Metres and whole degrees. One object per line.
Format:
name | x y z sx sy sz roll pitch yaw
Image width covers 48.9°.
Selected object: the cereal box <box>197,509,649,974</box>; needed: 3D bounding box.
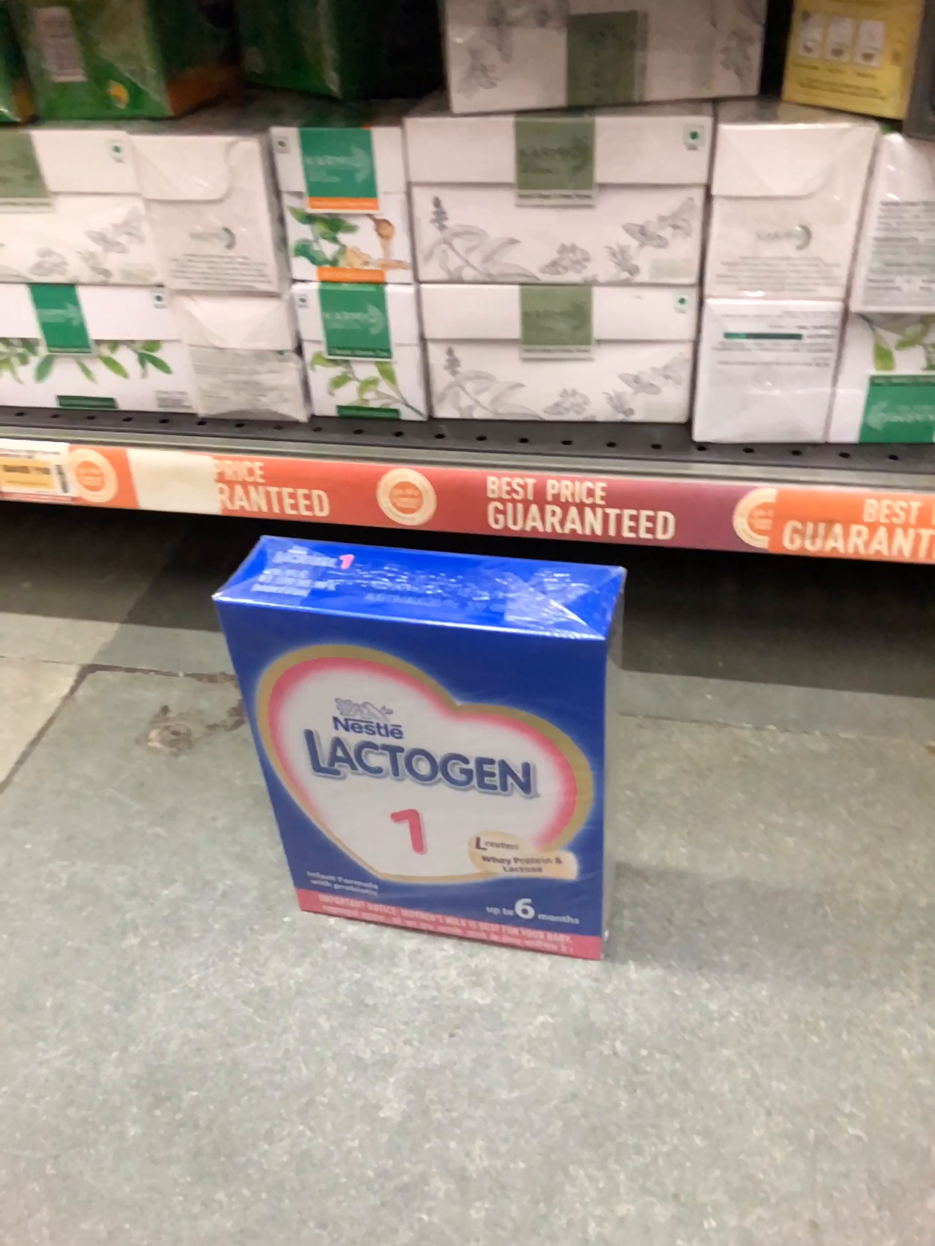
cereal box | -0.010 0.056 0.440 0.160 0.199 0.050 6 39 14
